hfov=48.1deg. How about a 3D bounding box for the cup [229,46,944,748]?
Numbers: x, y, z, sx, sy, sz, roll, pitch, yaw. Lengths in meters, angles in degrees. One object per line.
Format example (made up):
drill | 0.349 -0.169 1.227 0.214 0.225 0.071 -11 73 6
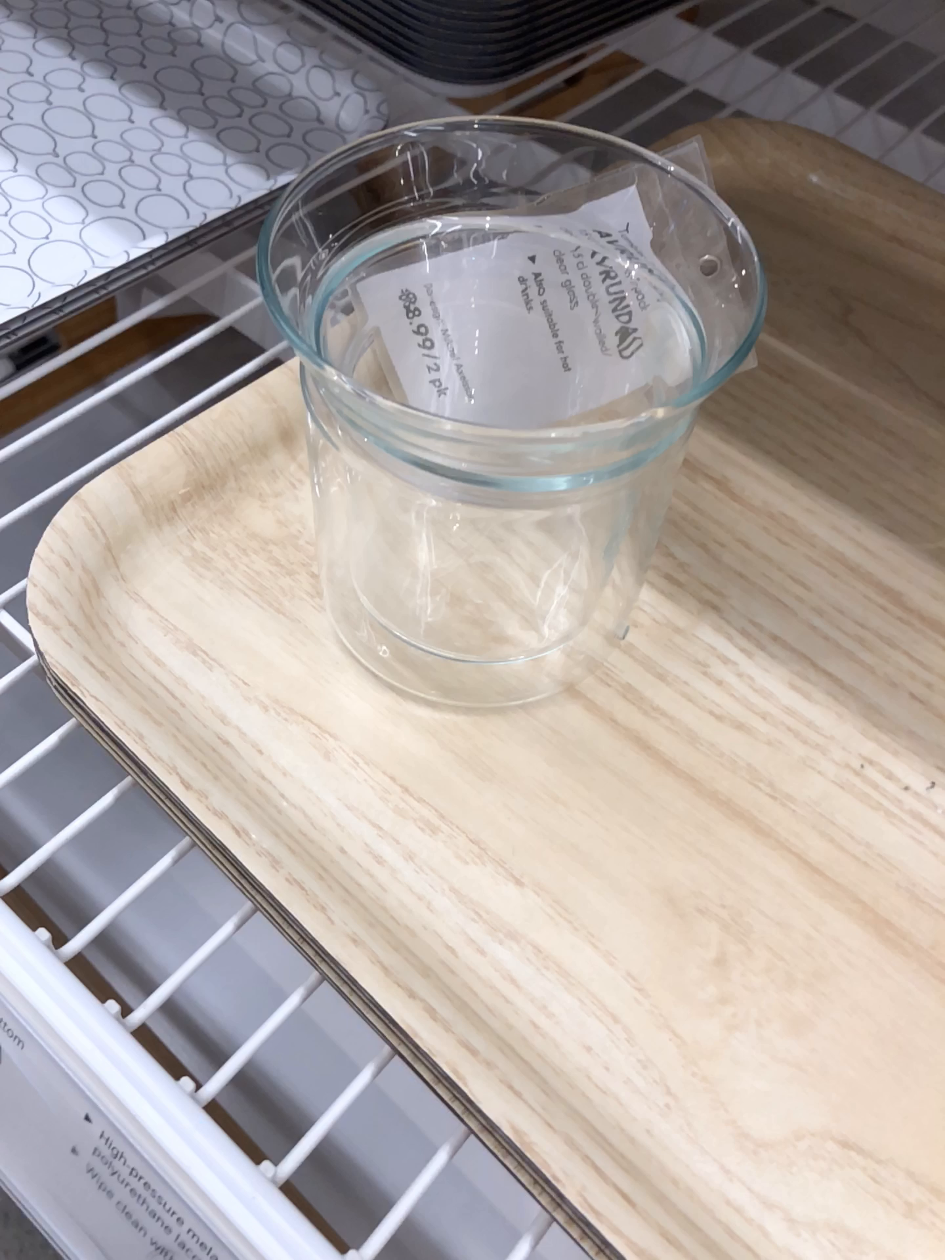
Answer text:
cup | 0.016 -0.042 0.202 0.100 0.080 0.090 7 53 -3
